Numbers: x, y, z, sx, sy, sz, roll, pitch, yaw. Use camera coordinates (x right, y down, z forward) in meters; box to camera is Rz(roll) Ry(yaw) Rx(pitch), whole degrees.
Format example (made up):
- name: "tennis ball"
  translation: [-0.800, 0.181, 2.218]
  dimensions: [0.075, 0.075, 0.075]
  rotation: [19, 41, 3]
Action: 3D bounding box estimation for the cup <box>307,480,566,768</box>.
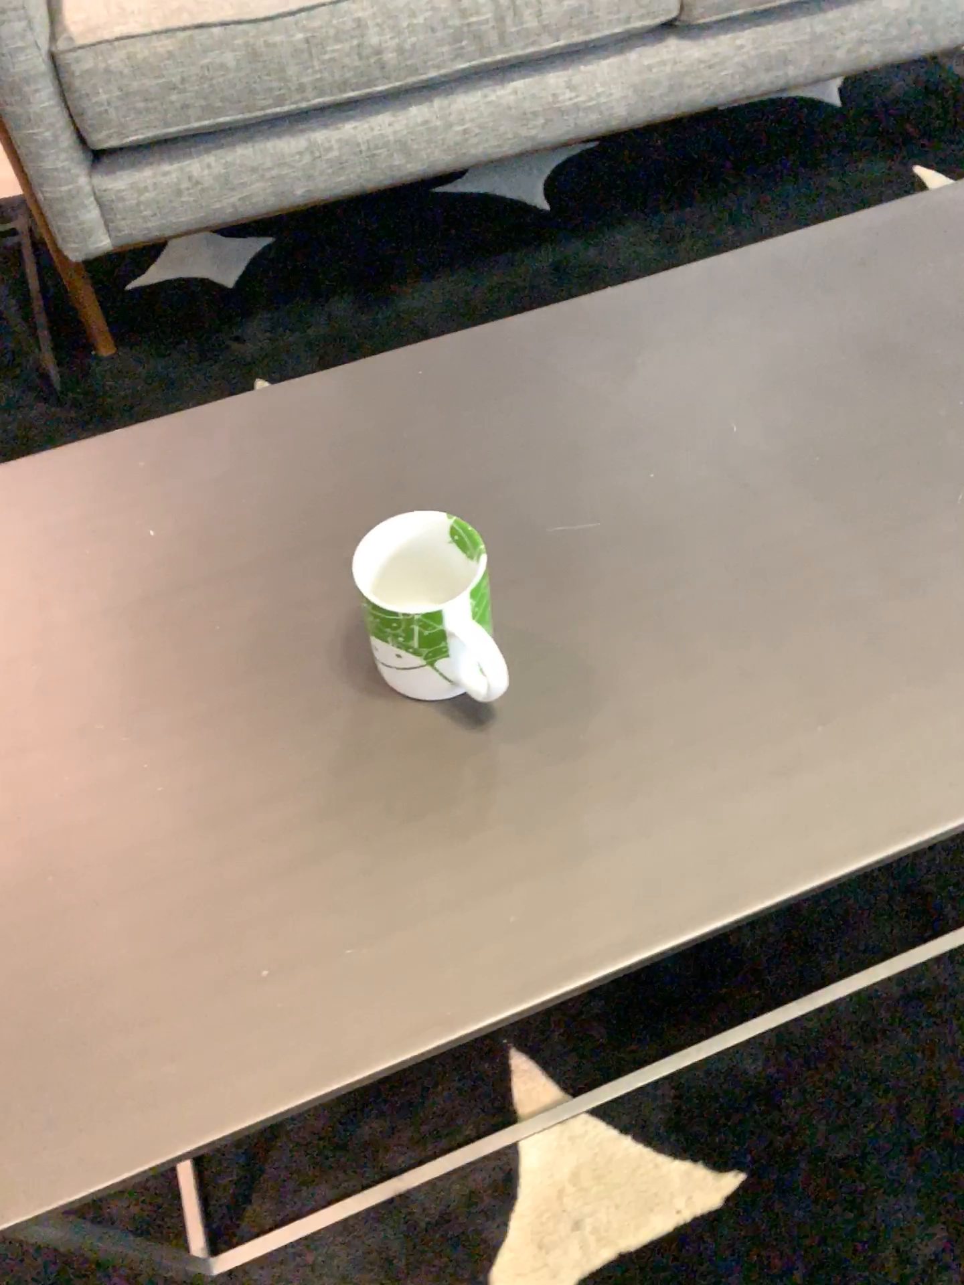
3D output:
- name: "cup"
  translation: [-0.026, -0.013, 0.612]
  dimensions: [0.100, 0.090, 0.120]
  rotation: [-33, 58, -19]
